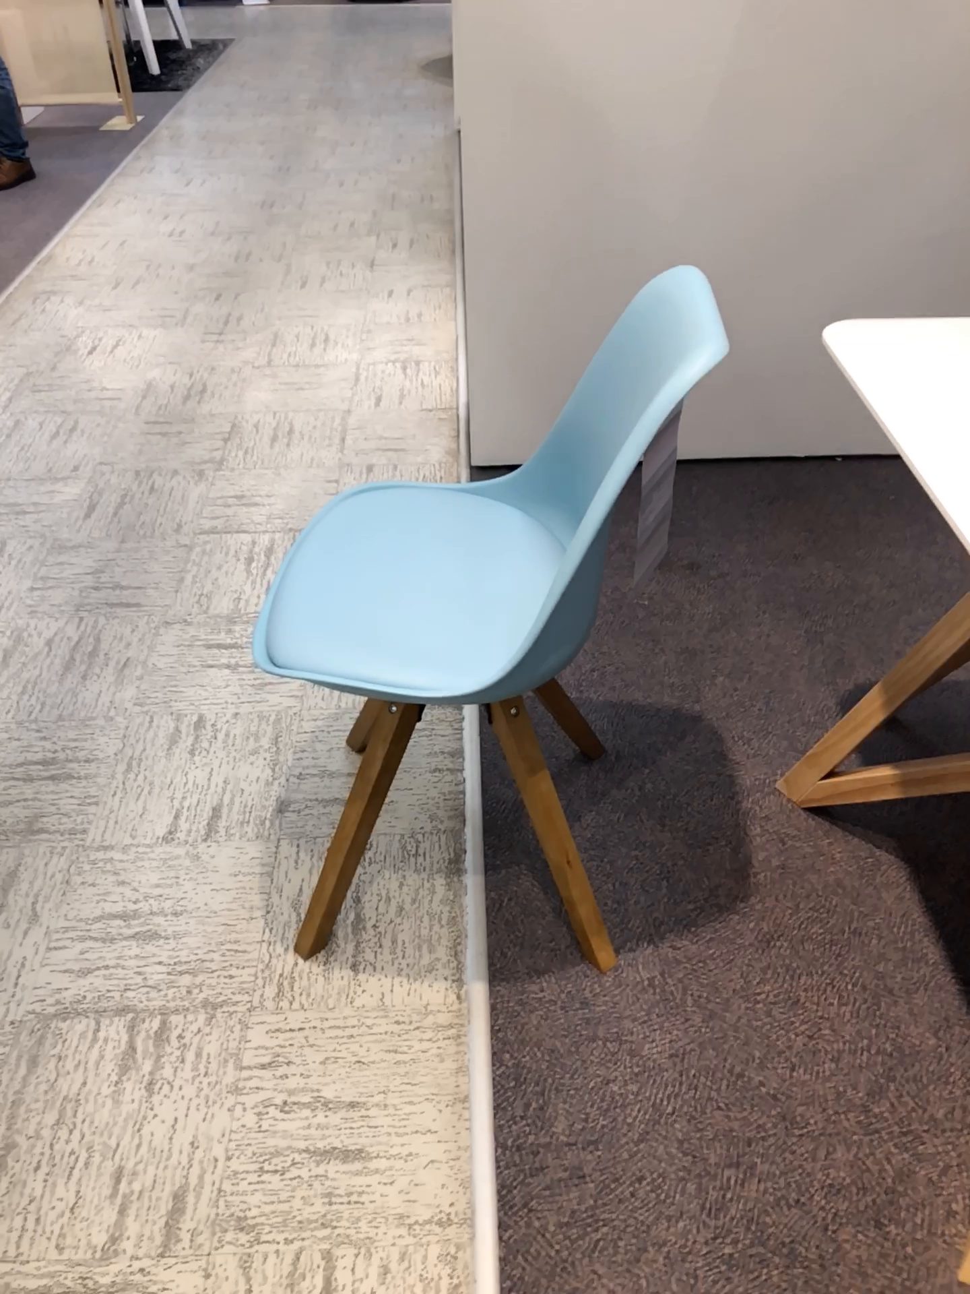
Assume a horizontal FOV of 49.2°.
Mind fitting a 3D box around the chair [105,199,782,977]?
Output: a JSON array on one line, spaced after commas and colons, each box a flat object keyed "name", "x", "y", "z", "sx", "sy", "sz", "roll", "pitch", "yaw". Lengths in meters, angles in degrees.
[{"name": "chair", "x": -0.016, "y": -0.066, "z": 1.329, "sx": 0.560, "sy": 0.795, "sz": 0.543, "roll": 0, "pitch": 37, "yaw": 3}]
